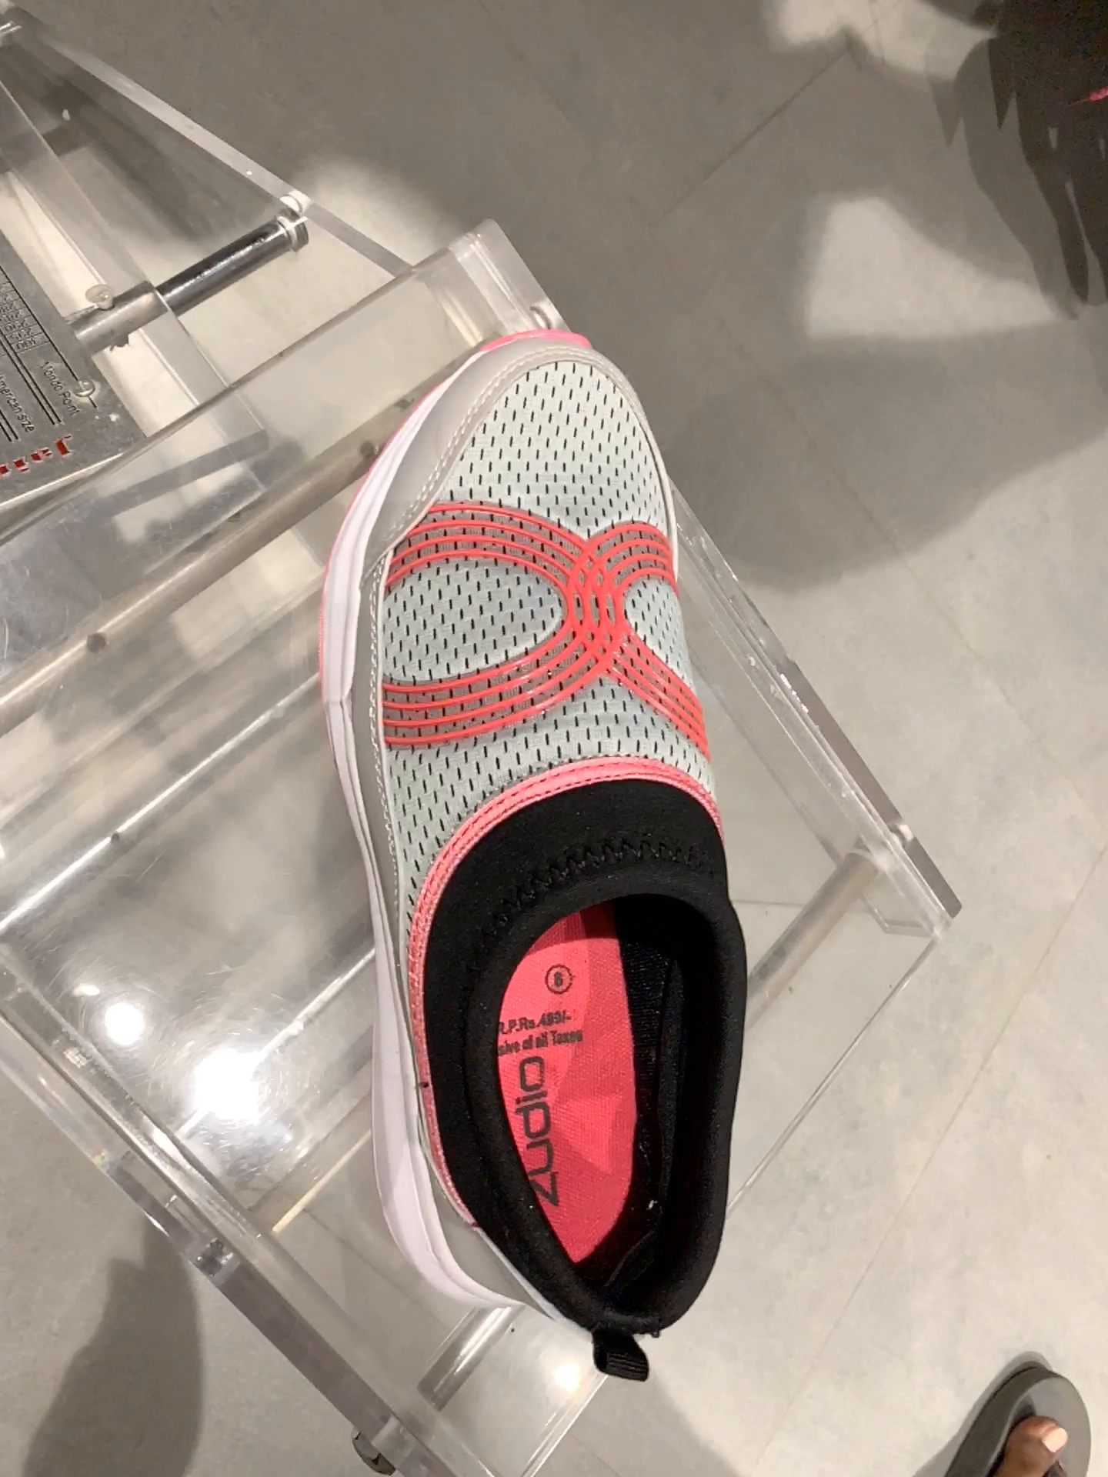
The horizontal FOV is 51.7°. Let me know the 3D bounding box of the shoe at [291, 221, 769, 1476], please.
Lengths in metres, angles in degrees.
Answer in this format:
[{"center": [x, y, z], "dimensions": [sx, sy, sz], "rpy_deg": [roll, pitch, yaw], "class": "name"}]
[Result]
[{"center": [-0.012, 0.026, 0.328], "dimensions": [0.100, 0.080, 0.300], "rpy_deg": [0, 85, -28], "class": "shoe"}]
